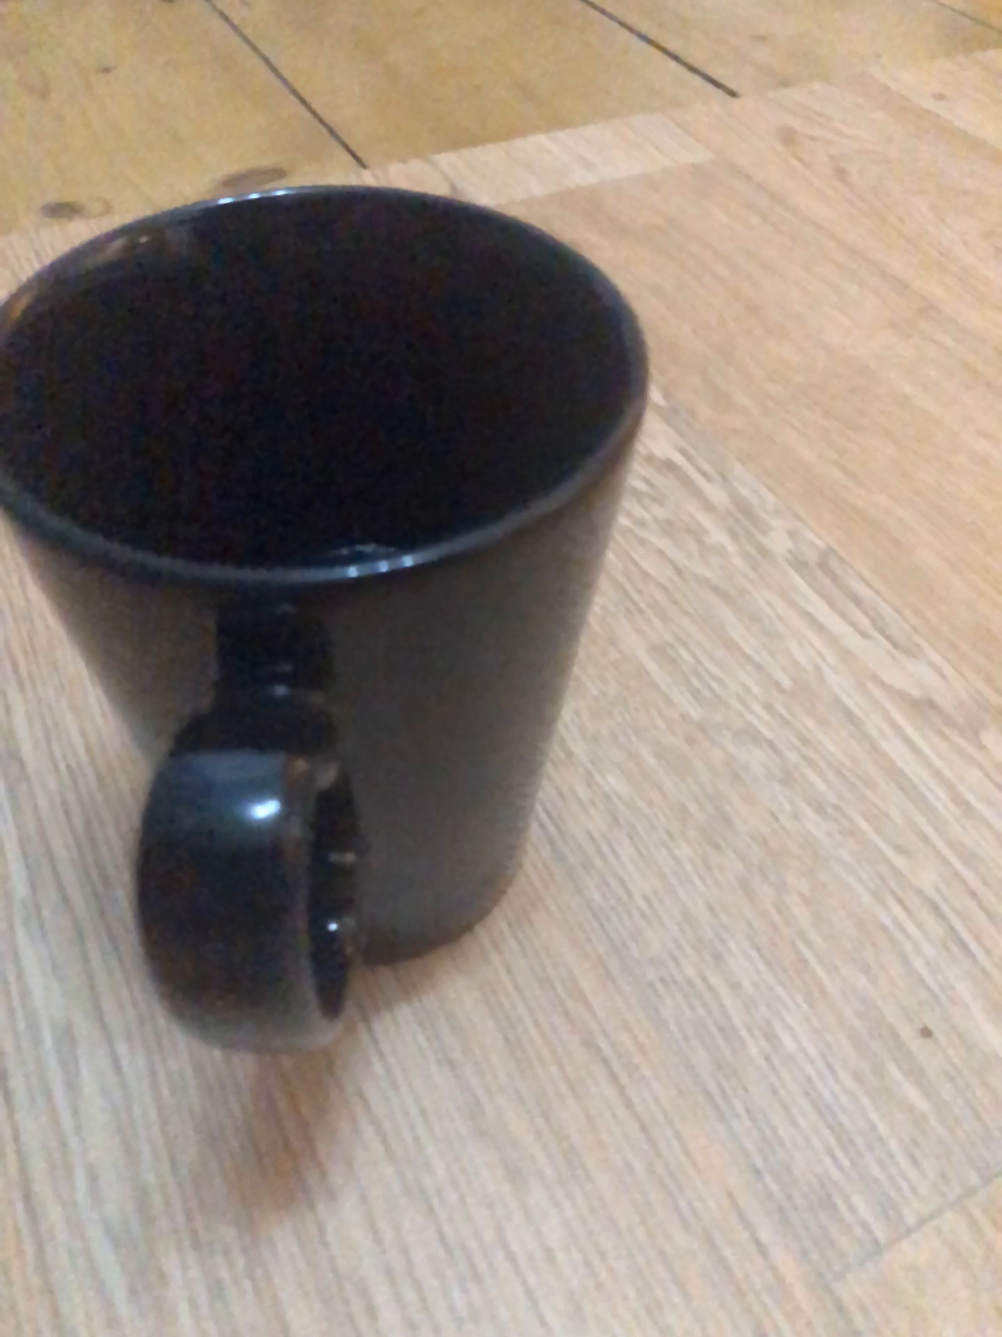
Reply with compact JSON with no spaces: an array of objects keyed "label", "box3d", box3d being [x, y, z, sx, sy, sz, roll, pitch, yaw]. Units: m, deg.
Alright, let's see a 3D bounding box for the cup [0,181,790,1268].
[{"label":"cup","box3d":[-0.019,0.004,0.159,0.090,0.089,0.121,4,48,2]}]
